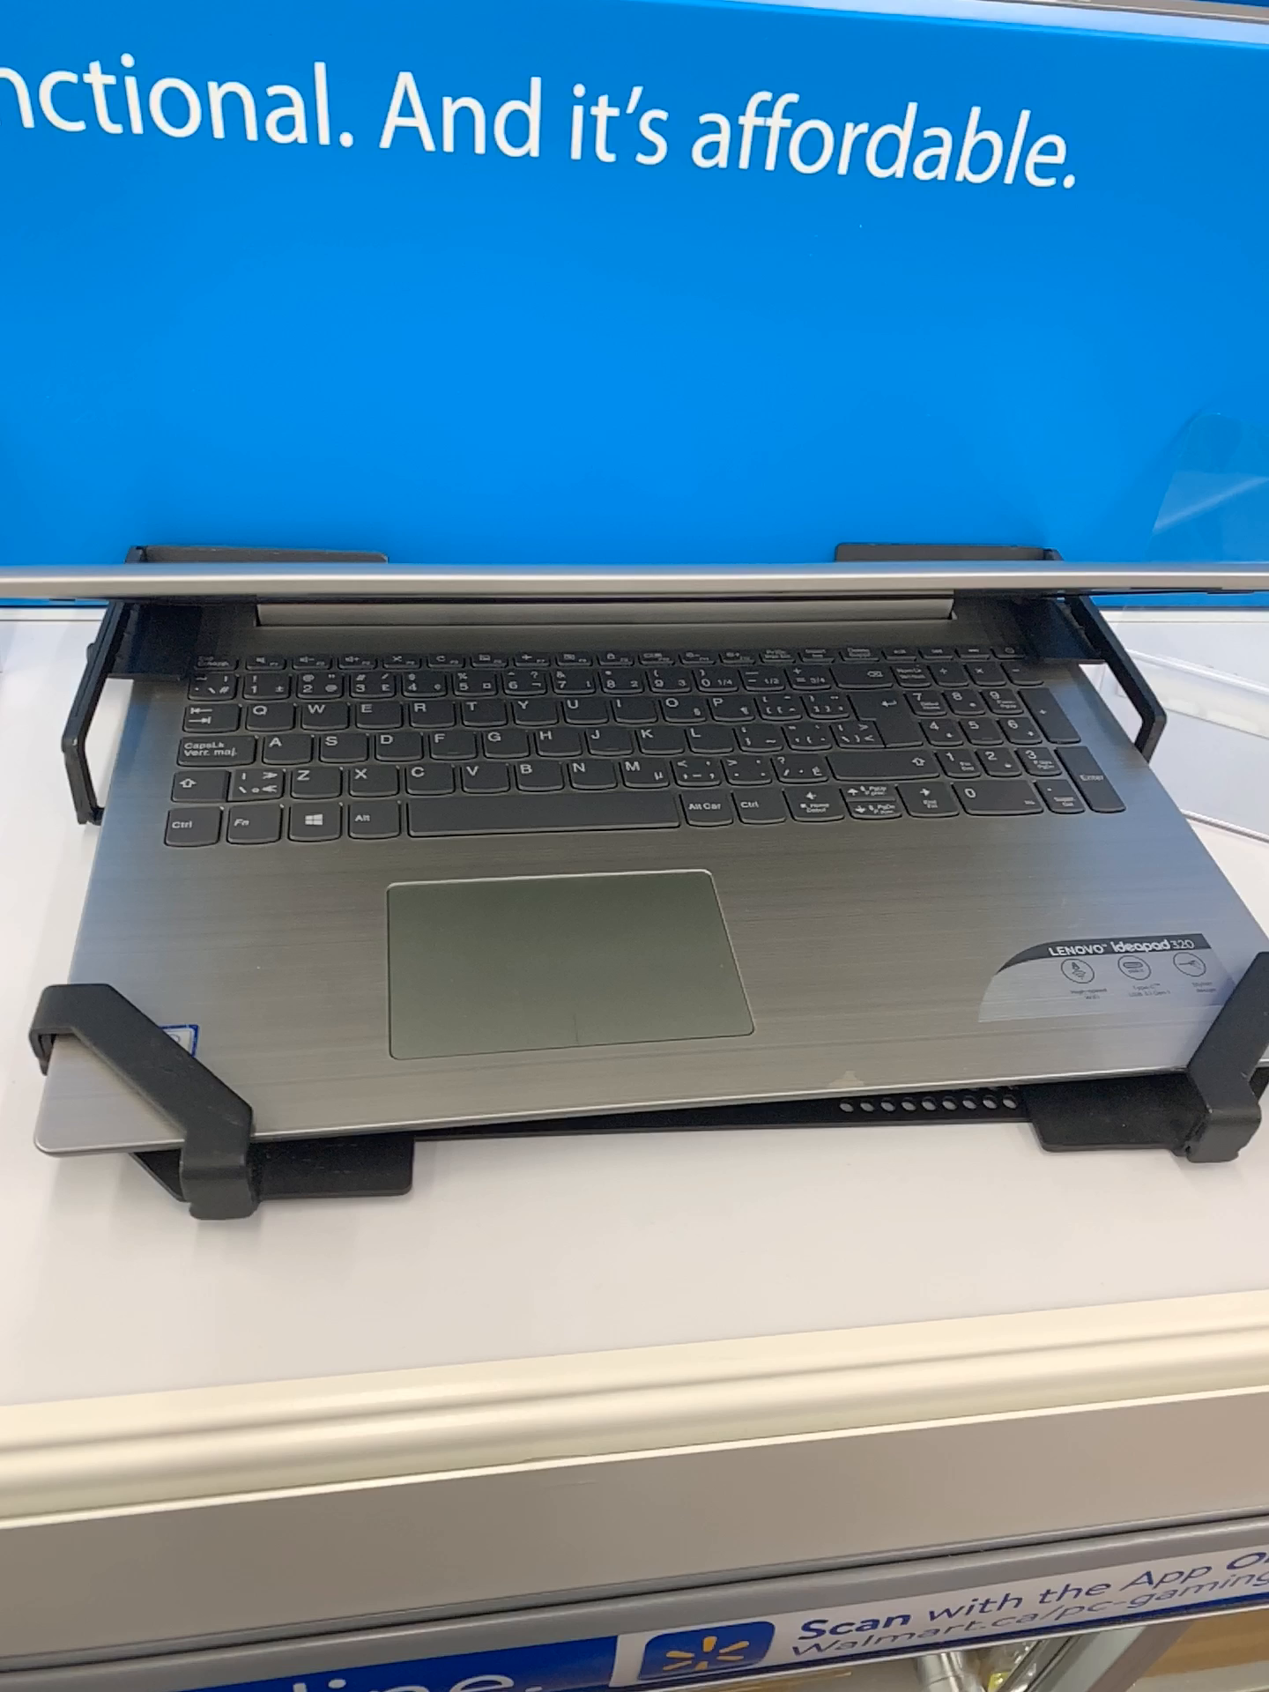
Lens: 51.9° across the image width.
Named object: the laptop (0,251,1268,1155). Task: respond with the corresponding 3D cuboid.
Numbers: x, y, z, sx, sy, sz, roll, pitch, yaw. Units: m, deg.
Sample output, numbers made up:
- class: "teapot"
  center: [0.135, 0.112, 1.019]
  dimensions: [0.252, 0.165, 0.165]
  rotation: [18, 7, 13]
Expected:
- class: "laptop"
  center: [0.017, -0.059, 0.362]
  dimensions: [0.326, 0.115, 0.230]
  rotation: [-2, 42, -10]
